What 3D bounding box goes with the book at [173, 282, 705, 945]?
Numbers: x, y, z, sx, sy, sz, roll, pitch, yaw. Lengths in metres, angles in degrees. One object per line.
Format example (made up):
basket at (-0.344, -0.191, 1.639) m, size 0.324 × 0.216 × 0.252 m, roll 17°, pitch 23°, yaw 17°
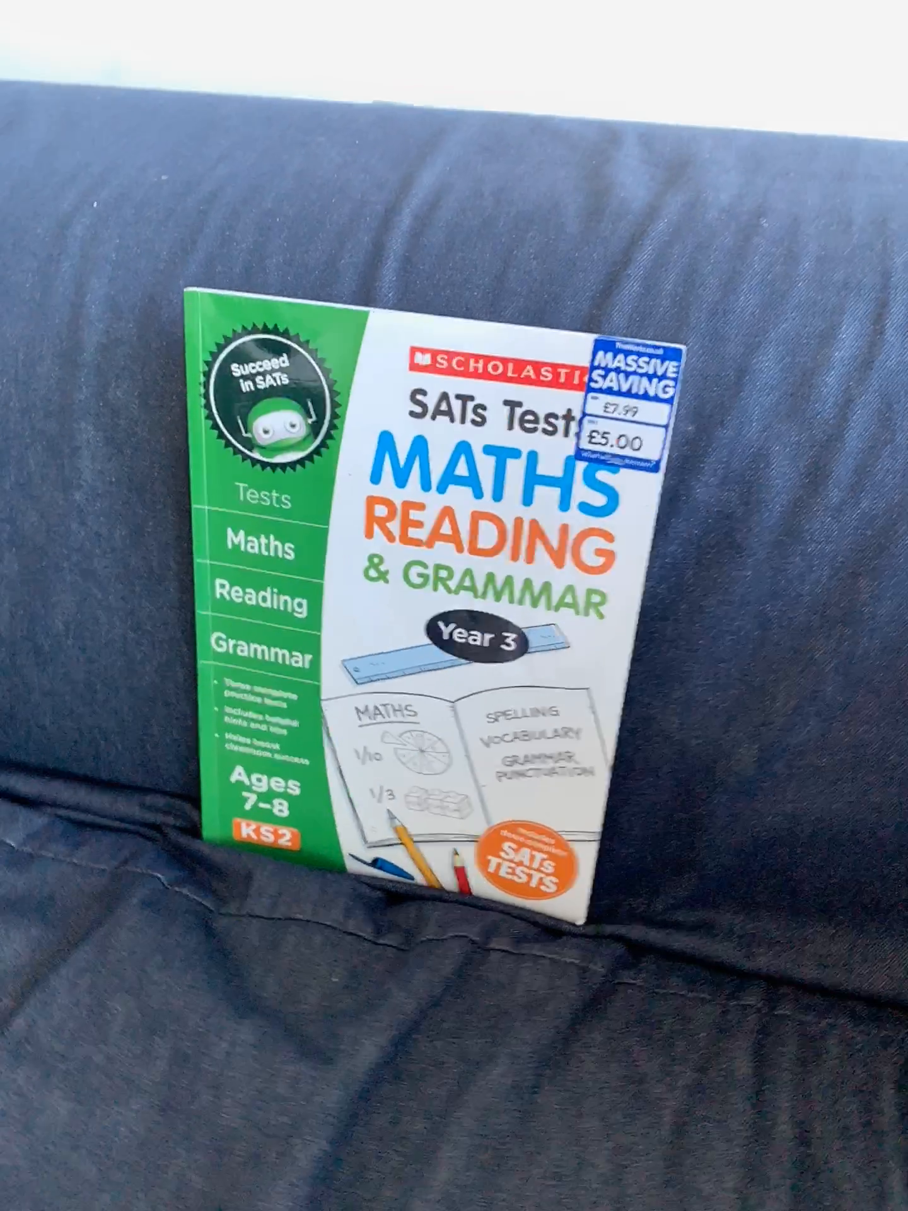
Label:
book at (-0.018, 0.017, 0.429) m, size 0.209 × 0.293 × 0.022 m, roll 9°, pitch 26°, yaw 10°
